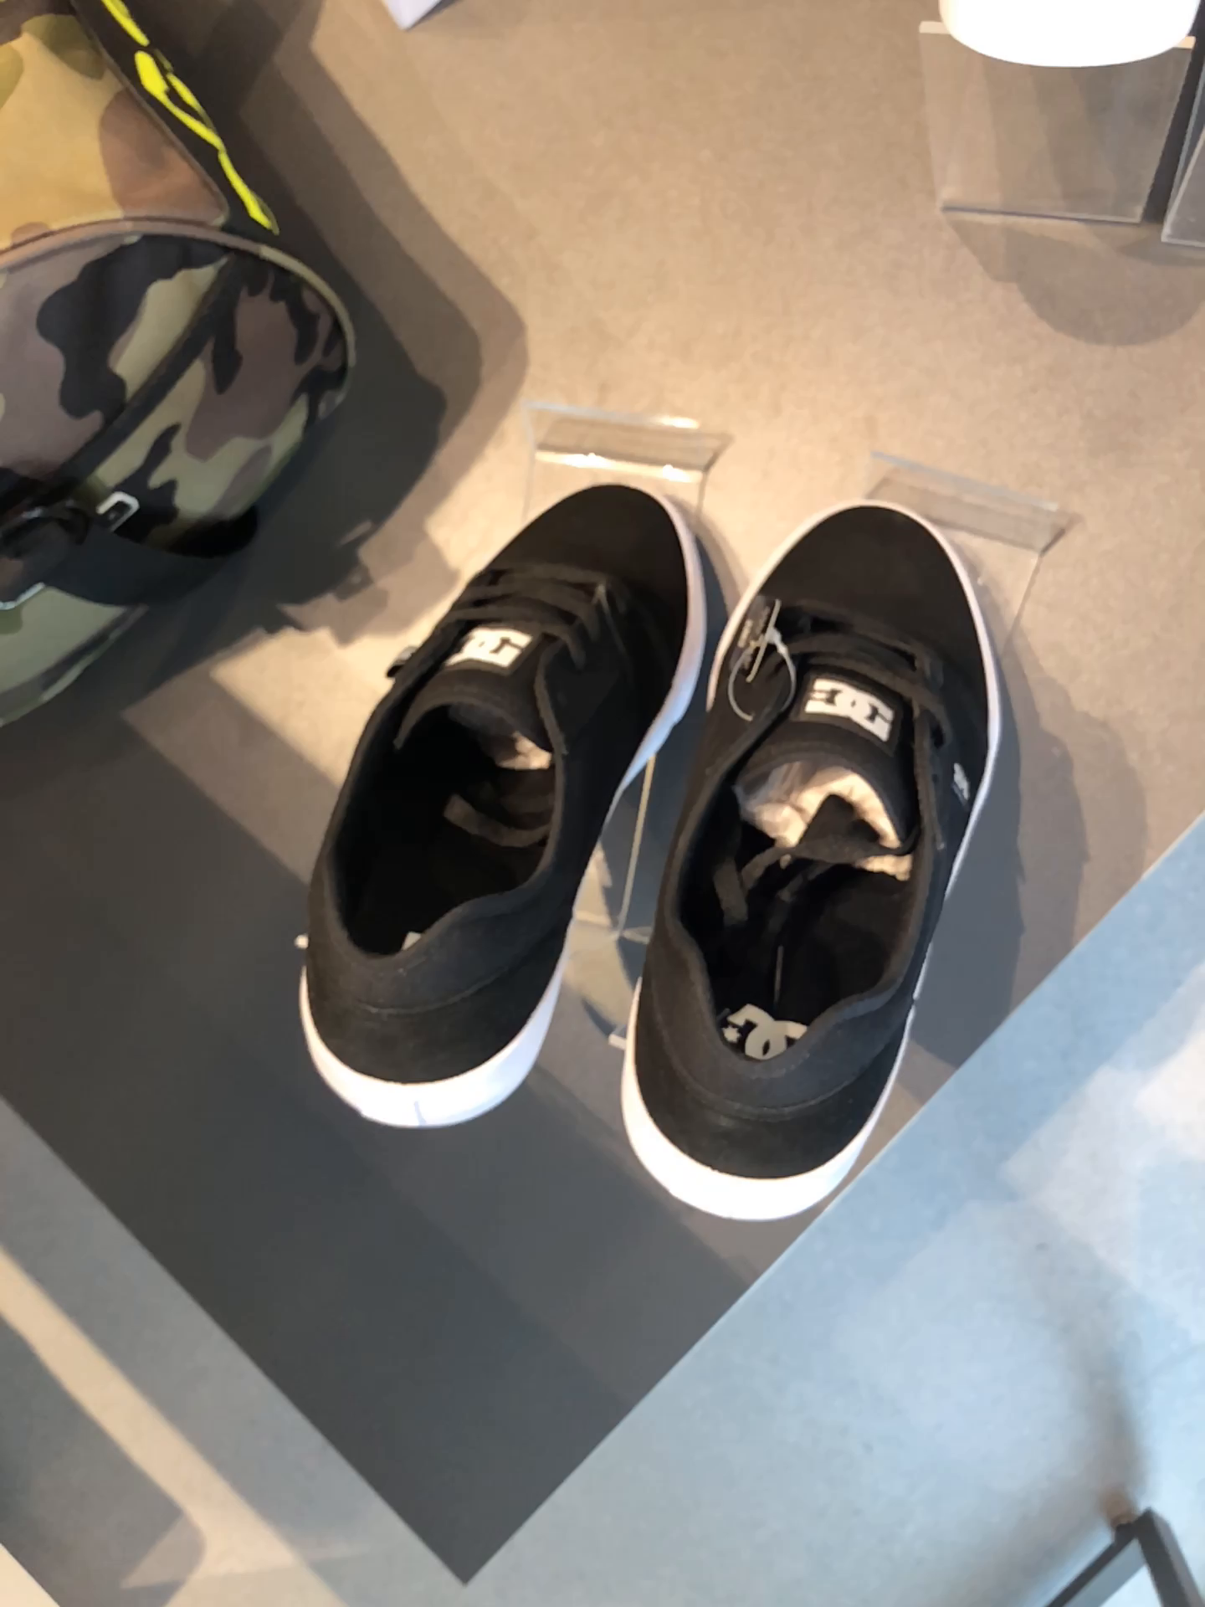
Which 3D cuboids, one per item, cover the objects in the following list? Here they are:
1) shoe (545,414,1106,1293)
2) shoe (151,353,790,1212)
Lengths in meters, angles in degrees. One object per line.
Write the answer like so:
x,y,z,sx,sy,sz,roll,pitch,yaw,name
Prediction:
0.072,0.008,0.413,0.106,0.107,0.229,15,58,9,shoe
-0.023,-0.014,0.417,0.106,0.107,0.229,13,58,10,shoe
